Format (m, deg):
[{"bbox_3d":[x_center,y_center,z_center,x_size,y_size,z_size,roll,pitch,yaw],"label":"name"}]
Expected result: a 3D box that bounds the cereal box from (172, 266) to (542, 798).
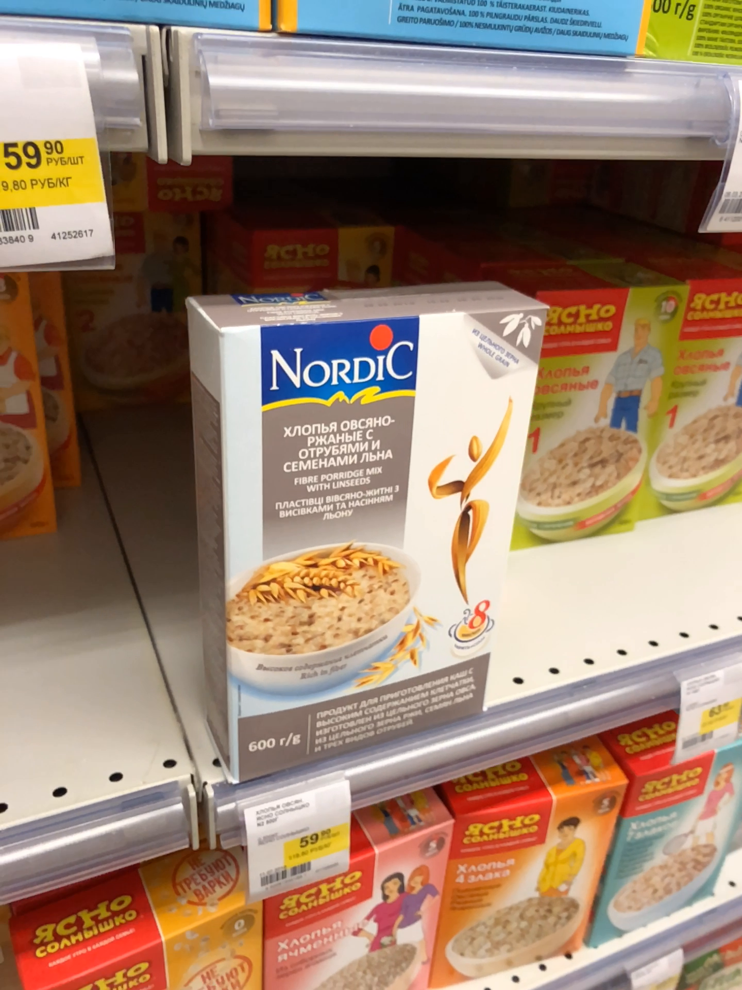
[{"bbox_3d":[-0.010,0.019,0.383,0.140,0.229,0.050,-10,30,-24],"label":"cereal box"}]
